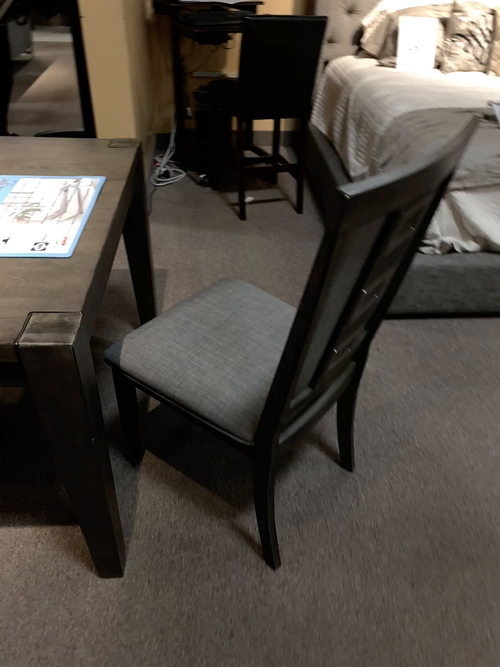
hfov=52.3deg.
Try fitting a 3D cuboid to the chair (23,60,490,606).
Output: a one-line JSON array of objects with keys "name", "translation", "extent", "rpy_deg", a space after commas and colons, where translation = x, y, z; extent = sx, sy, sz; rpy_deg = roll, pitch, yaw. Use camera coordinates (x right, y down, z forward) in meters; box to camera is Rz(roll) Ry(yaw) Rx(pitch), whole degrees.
[{"name": "chair", "translation": [0.000, -0.007, 1.198], "extent": [0.643, 0.997, 0.516], "rpy_deg": [26, 43, 27]}]
